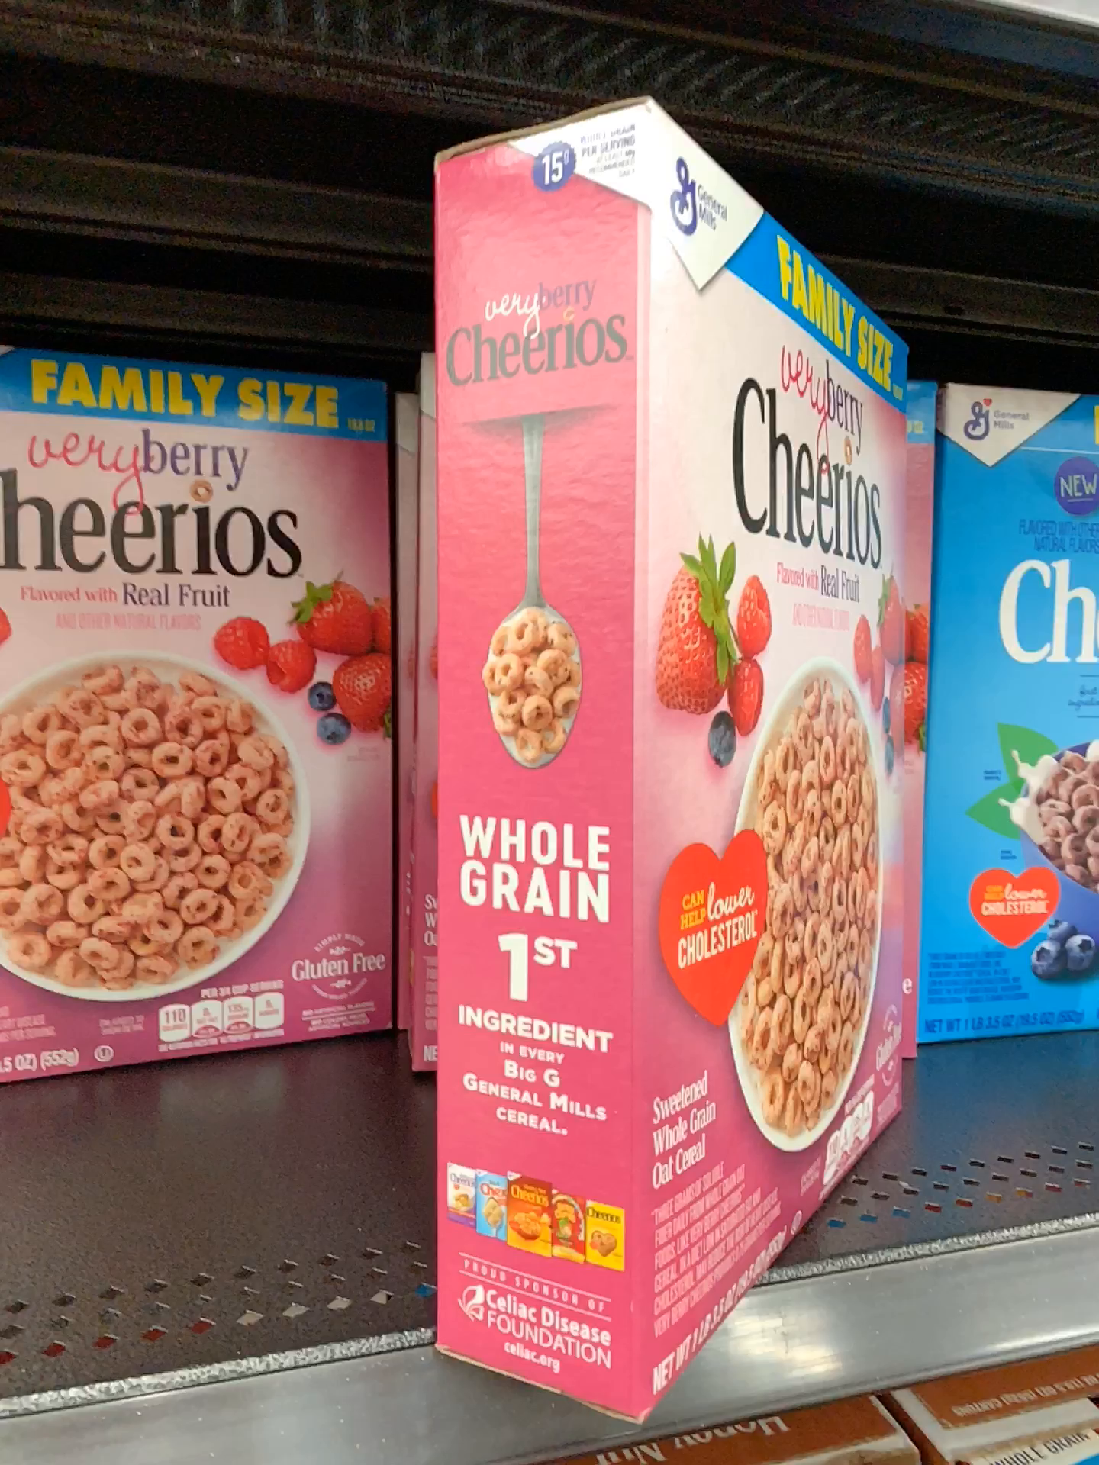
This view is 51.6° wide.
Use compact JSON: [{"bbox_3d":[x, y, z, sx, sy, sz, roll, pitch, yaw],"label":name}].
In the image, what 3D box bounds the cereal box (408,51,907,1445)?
[{"bbox_3d":[0.055,0.001,0.377,0.060,0.320,0.240,1,3,33],"label":"cereal box"}]
